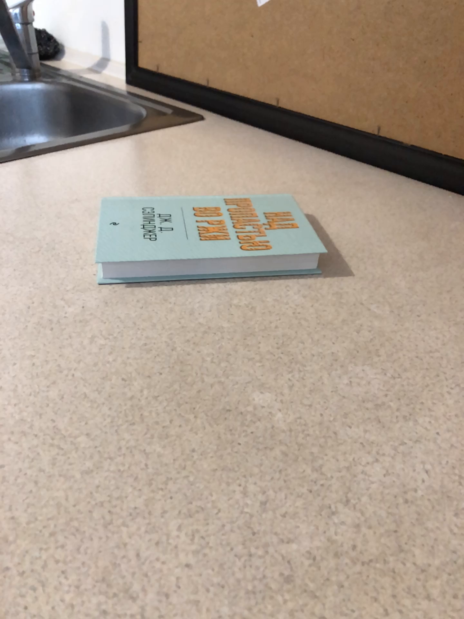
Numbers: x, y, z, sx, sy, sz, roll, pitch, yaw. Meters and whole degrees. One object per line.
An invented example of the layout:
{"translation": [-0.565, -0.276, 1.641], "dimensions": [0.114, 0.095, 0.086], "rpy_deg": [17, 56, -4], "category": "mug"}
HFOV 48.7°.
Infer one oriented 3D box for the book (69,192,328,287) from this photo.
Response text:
{"translation": [-0.028, -0.061, 0.410], "dimensions": [0.180, 0.020, 0.118], "rpy_deg": [-3, 34, -8], "category": "book"}
